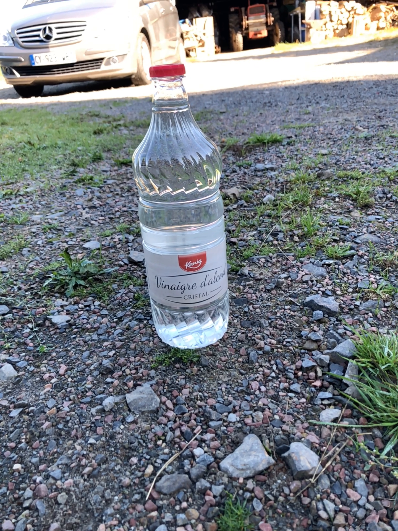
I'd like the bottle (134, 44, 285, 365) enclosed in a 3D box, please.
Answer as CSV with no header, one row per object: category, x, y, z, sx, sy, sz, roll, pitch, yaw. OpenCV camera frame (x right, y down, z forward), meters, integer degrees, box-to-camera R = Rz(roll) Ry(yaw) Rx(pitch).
bottle,0.012,-0.051,0.389,0.100,0.249,0.100,-5,25,2
